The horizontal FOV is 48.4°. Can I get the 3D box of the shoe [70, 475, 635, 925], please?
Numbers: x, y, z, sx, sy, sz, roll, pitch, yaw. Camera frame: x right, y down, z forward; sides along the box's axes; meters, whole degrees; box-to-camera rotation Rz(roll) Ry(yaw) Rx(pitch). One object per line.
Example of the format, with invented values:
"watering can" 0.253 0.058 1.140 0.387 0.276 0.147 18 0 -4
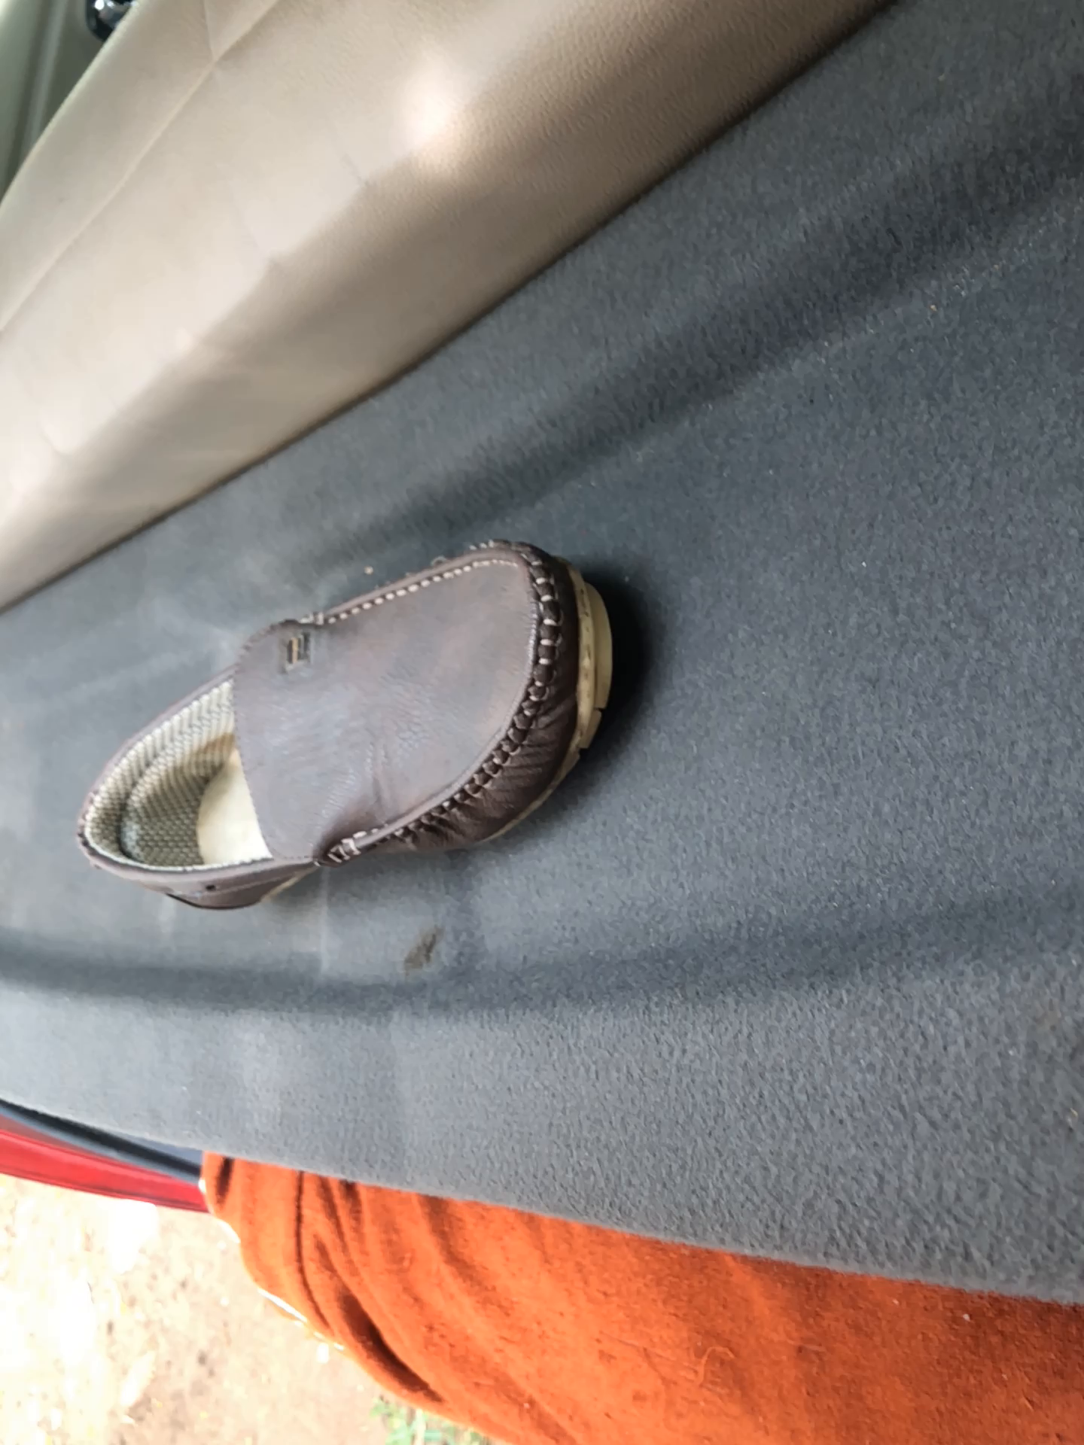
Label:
"shoe" -0.081 0.010 0.409 0.261 0.050 0.080 -20 63 45
